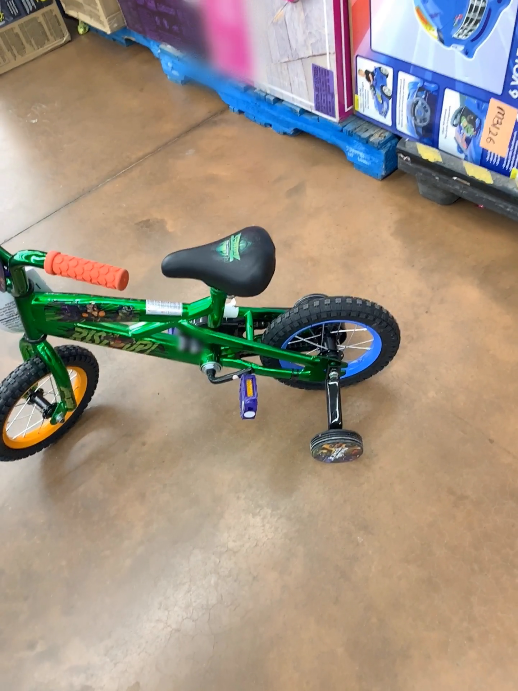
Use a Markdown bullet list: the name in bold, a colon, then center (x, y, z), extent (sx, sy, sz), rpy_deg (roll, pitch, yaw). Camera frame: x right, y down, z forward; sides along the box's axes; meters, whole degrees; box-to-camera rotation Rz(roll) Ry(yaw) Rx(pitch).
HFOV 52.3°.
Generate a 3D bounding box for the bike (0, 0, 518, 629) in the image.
- **bike**: center (-0.149, -0.024, 0.831), extent (0.850, 0.733, 0.491), rpy_deg (-15, 52, -4)
